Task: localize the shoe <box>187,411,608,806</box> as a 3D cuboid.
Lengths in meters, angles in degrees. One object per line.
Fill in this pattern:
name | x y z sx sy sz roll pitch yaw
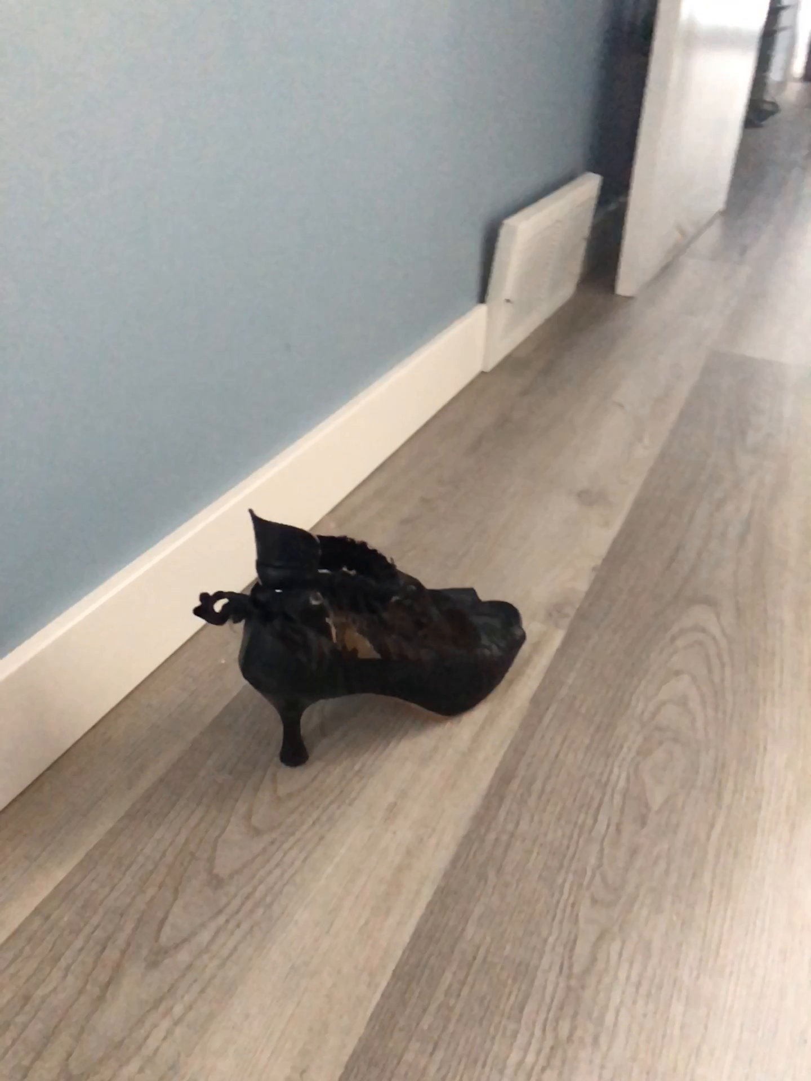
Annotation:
shoe | -0.001 0.030 0.539 0.220 0.139 0.100 -21 40 -31
